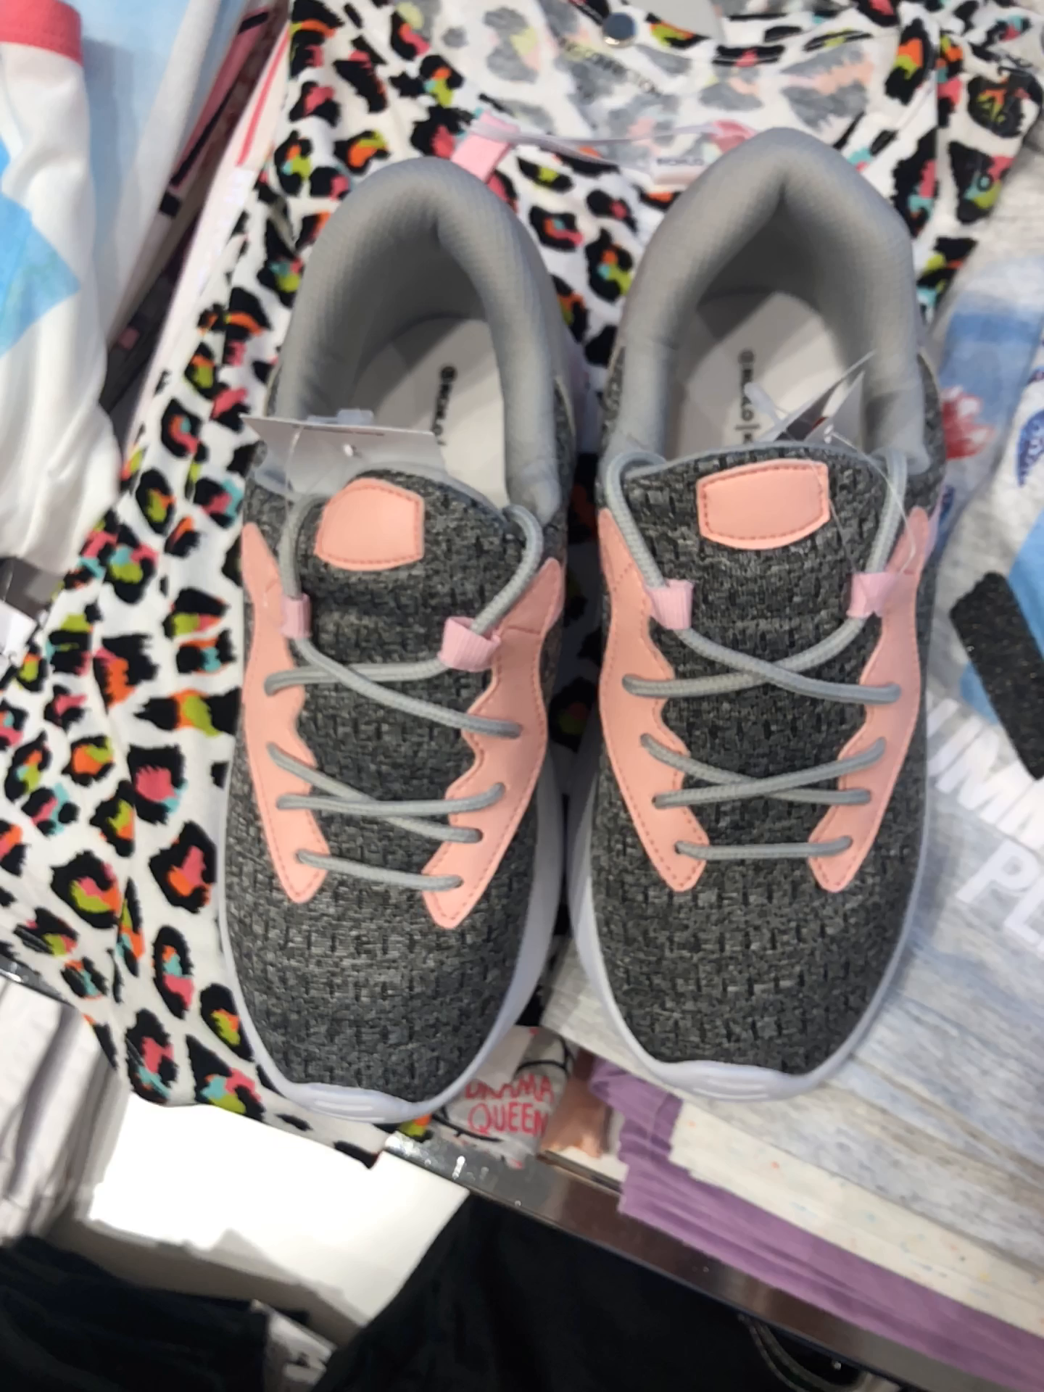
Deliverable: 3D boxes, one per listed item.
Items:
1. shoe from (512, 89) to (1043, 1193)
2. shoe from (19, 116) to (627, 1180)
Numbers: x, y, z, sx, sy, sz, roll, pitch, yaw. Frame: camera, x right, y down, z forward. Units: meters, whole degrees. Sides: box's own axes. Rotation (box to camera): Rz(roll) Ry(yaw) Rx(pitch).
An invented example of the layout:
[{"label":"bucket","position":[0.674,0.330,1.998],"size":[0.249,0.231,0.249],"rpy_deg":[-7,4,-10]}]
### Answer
[{"label":"shoe","position":[0.059,-0.011,0.274],"size":[0.100,0.100,0.210],"rpy_deg":[1,81,8]},{"label":"shoe","position":[-0.035,-0.013,0.294],"size":[0.100,0.100,0.220],"rpy_deg":[4,81,9]}]
